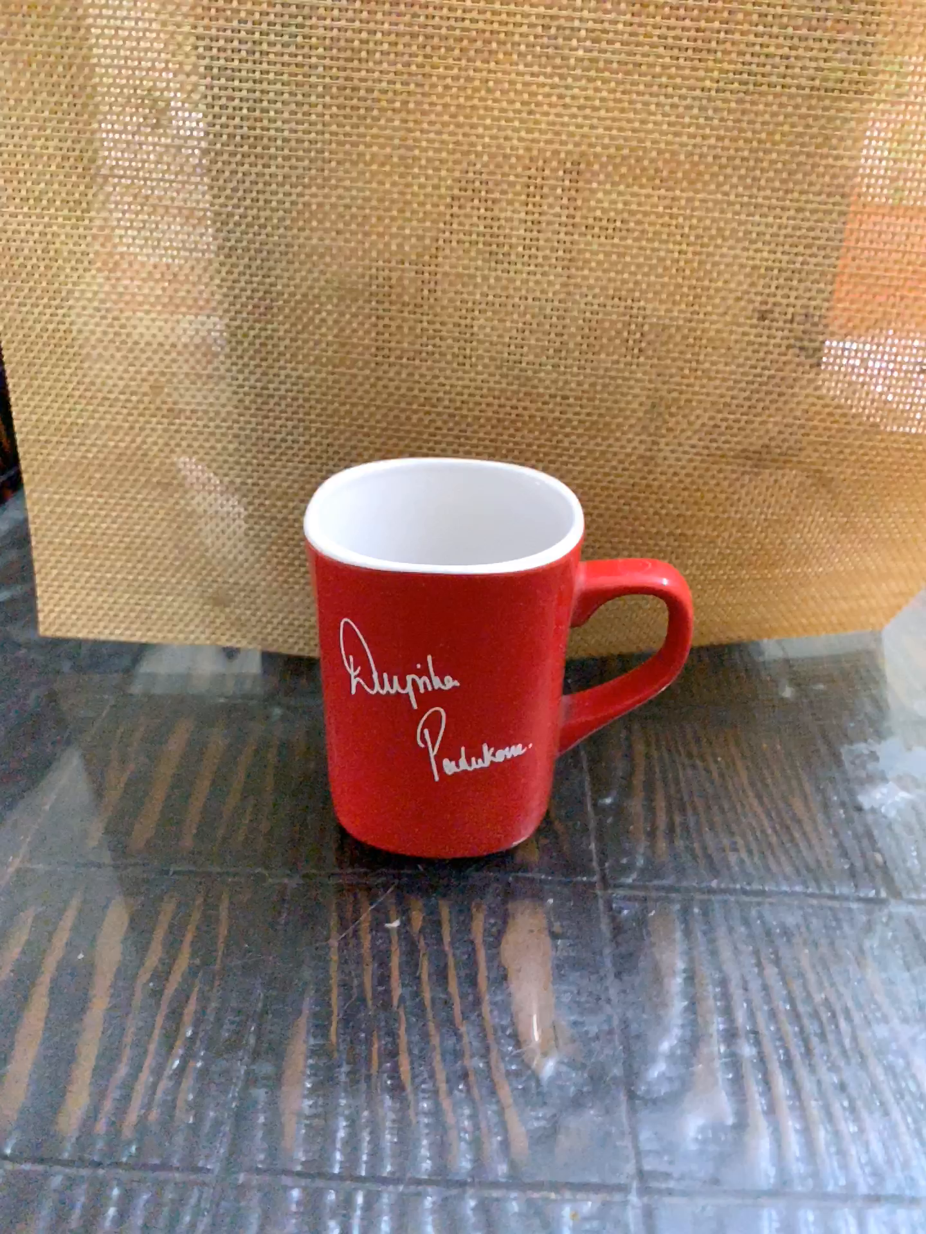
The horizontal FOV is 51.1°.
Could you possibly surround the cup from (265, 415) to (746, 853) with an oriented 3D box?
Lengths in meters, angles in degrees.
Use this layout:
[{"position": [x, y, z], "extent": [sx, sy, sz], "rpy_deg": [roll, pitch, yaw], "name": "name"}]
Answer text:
[{"position": [0.007, 0.002, 0.243], "extent": [0.095, 0.085, 0.070], "rpy_deg": [0, 29, -2], "name": "cup"}]
